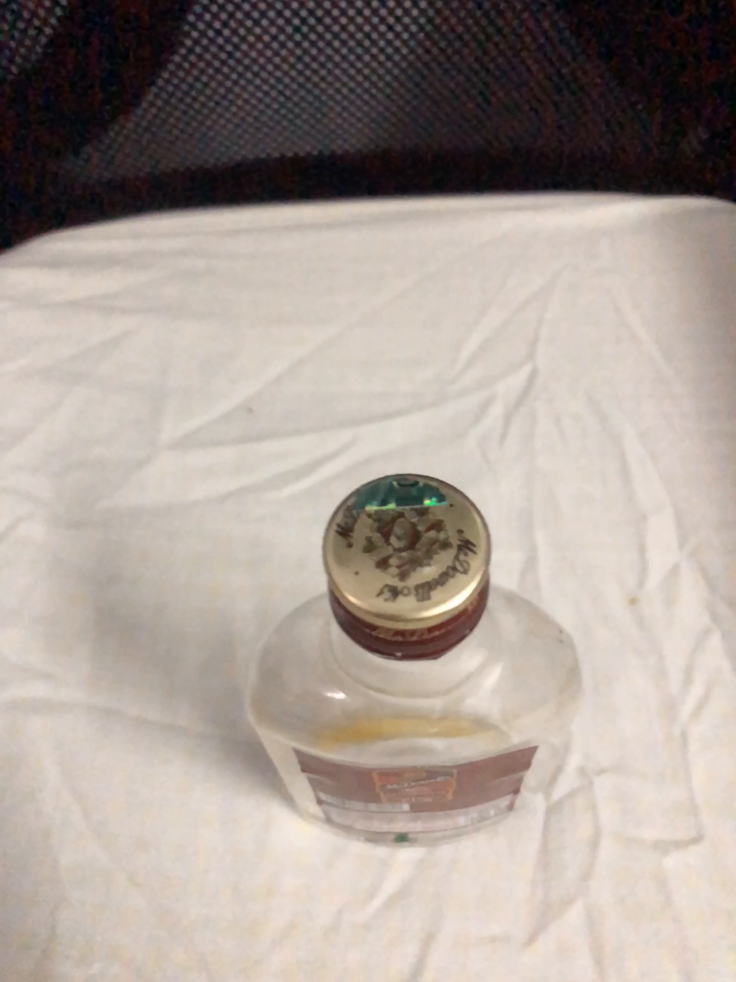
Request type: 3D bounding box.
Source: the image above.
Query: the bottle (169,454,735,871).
[{"bbox_3d":[0.015,0.049,0.178,0.080,0.140,0.040,-3,59,0],"label":"bottle"}]
